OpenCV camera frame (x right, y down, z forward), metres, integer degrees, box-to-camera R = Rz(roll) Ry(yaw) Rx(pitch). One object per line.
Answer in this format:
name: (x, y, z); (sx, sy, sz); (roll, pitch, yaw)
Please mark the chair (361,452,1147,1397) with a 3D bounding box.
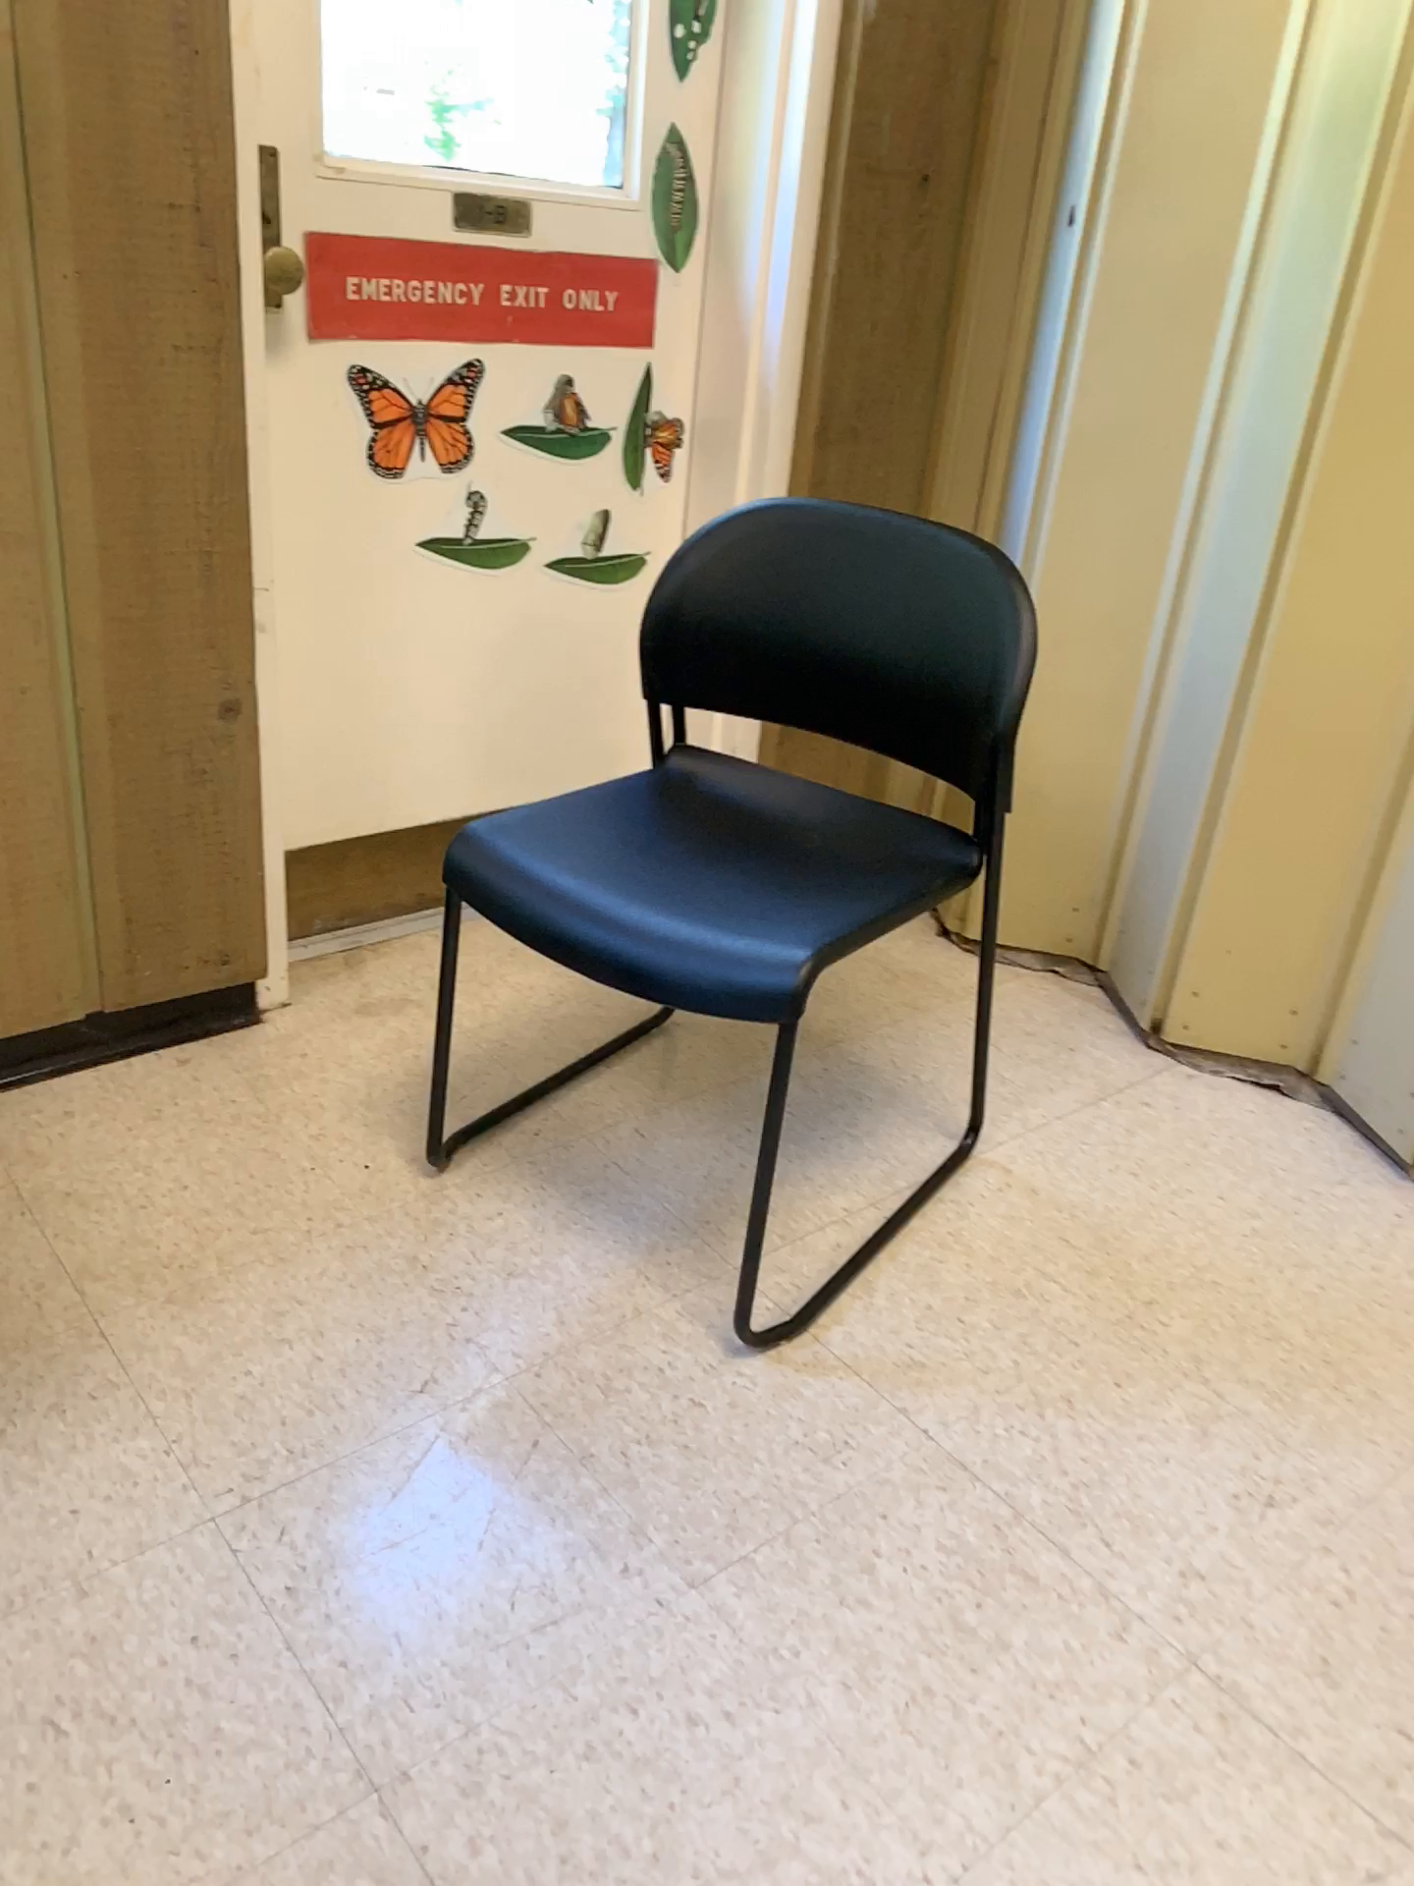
chair: (0.040, -0.089, 1.665); (0.581, 0.795, 0.622); (20, 29, 28)
